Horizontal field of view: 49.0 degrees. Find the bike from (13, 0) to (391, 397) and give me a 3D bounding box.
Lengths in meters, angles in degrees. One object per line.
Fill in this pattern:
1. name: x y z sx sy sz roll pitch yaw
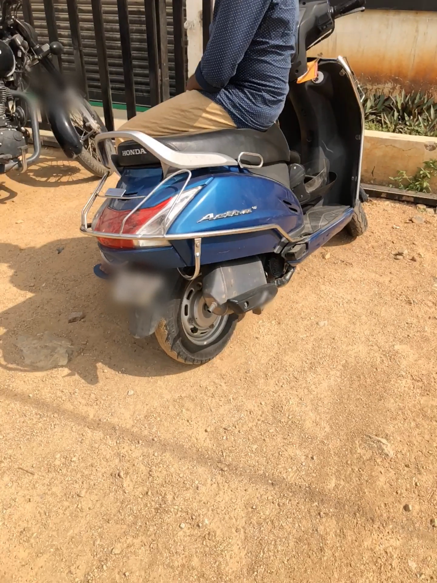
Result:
1. bike: 0.094 -0.612 1.969 0.622 1.115 1.558 18 37 26
